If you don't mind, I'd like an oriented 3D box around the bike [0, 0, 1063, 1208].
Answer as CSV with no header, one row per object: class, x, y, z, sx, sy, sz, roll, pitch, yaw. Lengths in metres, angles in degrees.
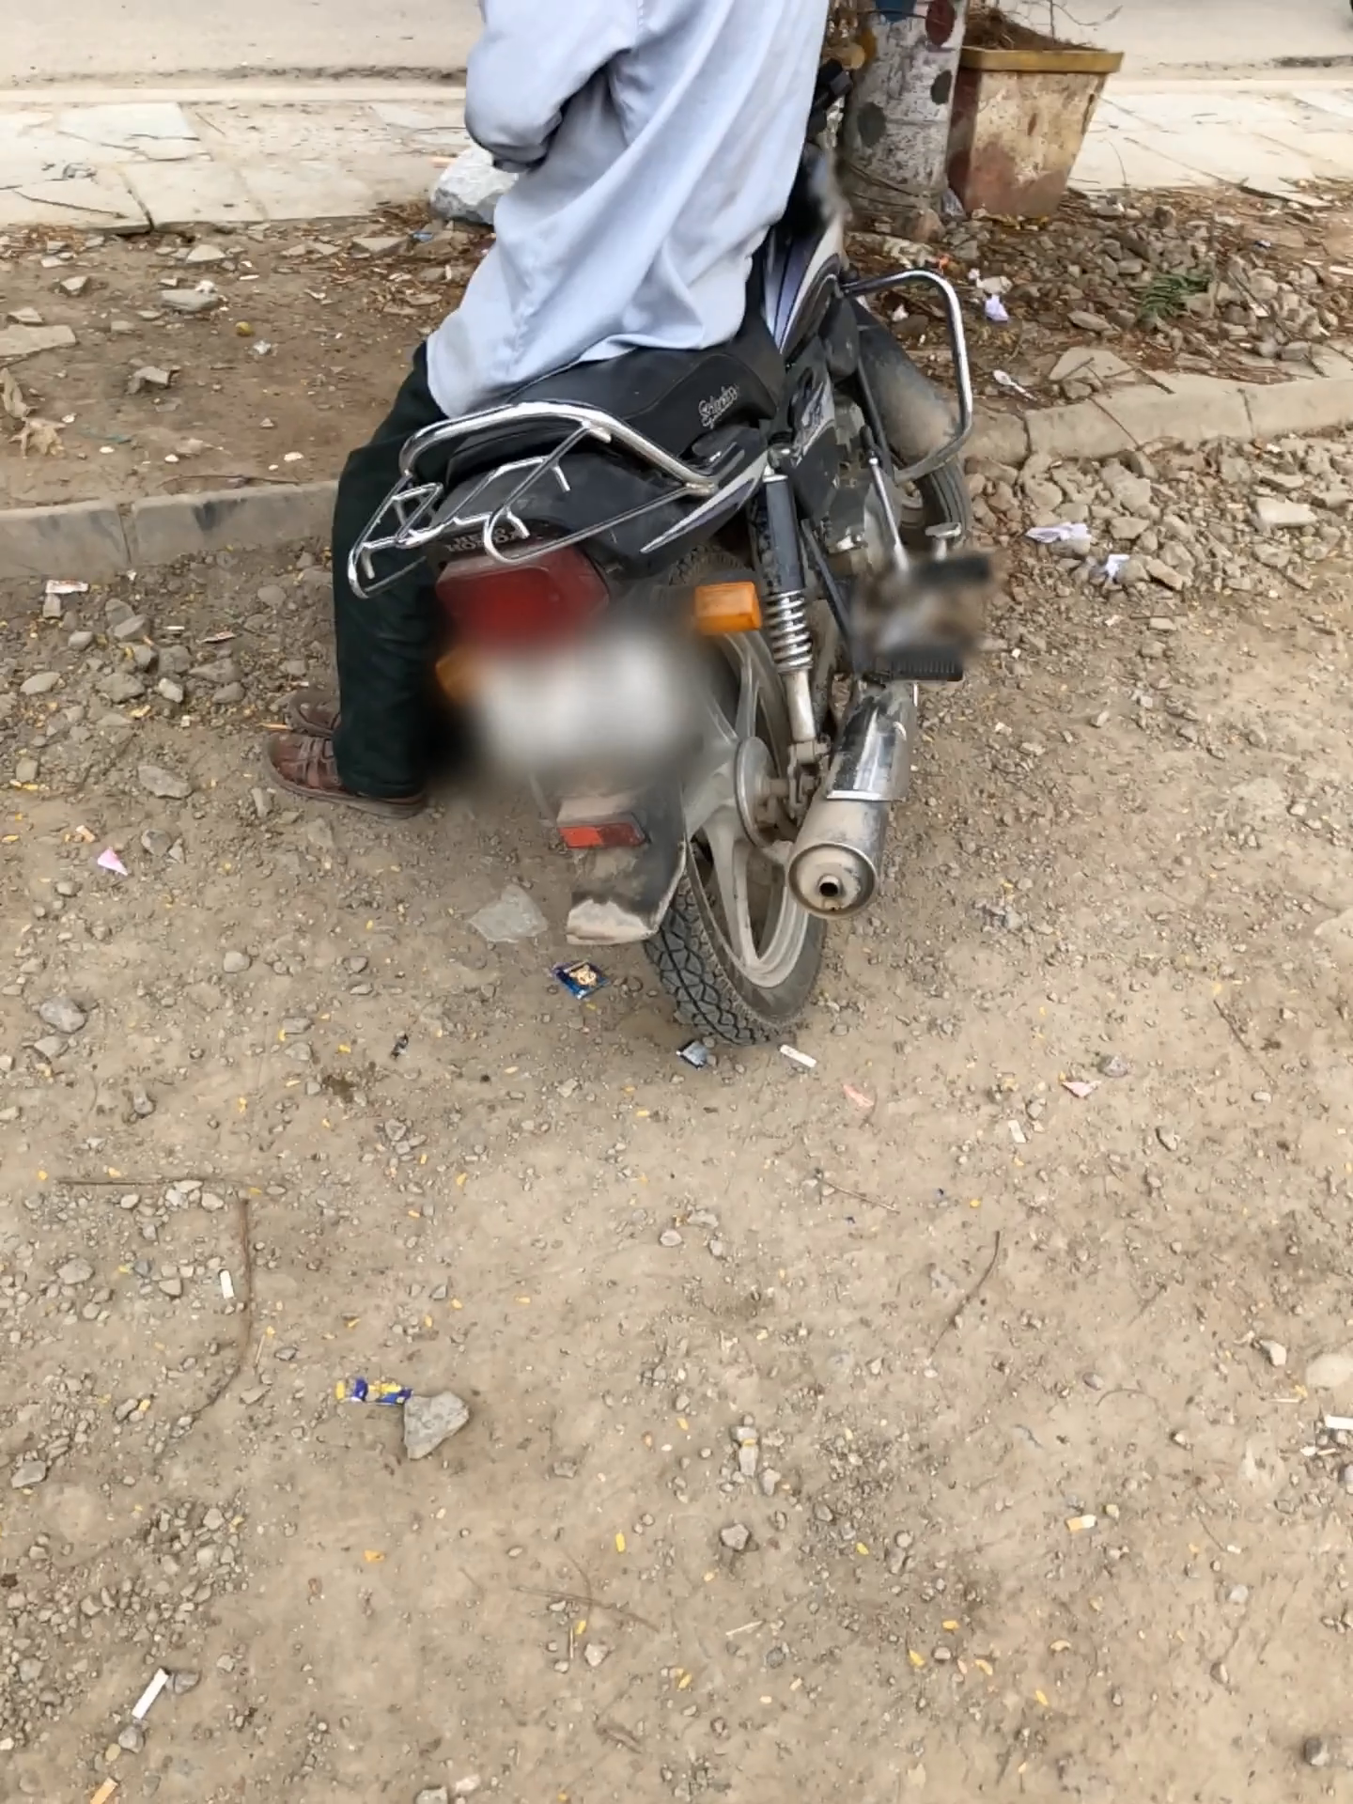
bike,-0.061,-0.680,1.927,0.739,1.170,1.605,8,42,3
